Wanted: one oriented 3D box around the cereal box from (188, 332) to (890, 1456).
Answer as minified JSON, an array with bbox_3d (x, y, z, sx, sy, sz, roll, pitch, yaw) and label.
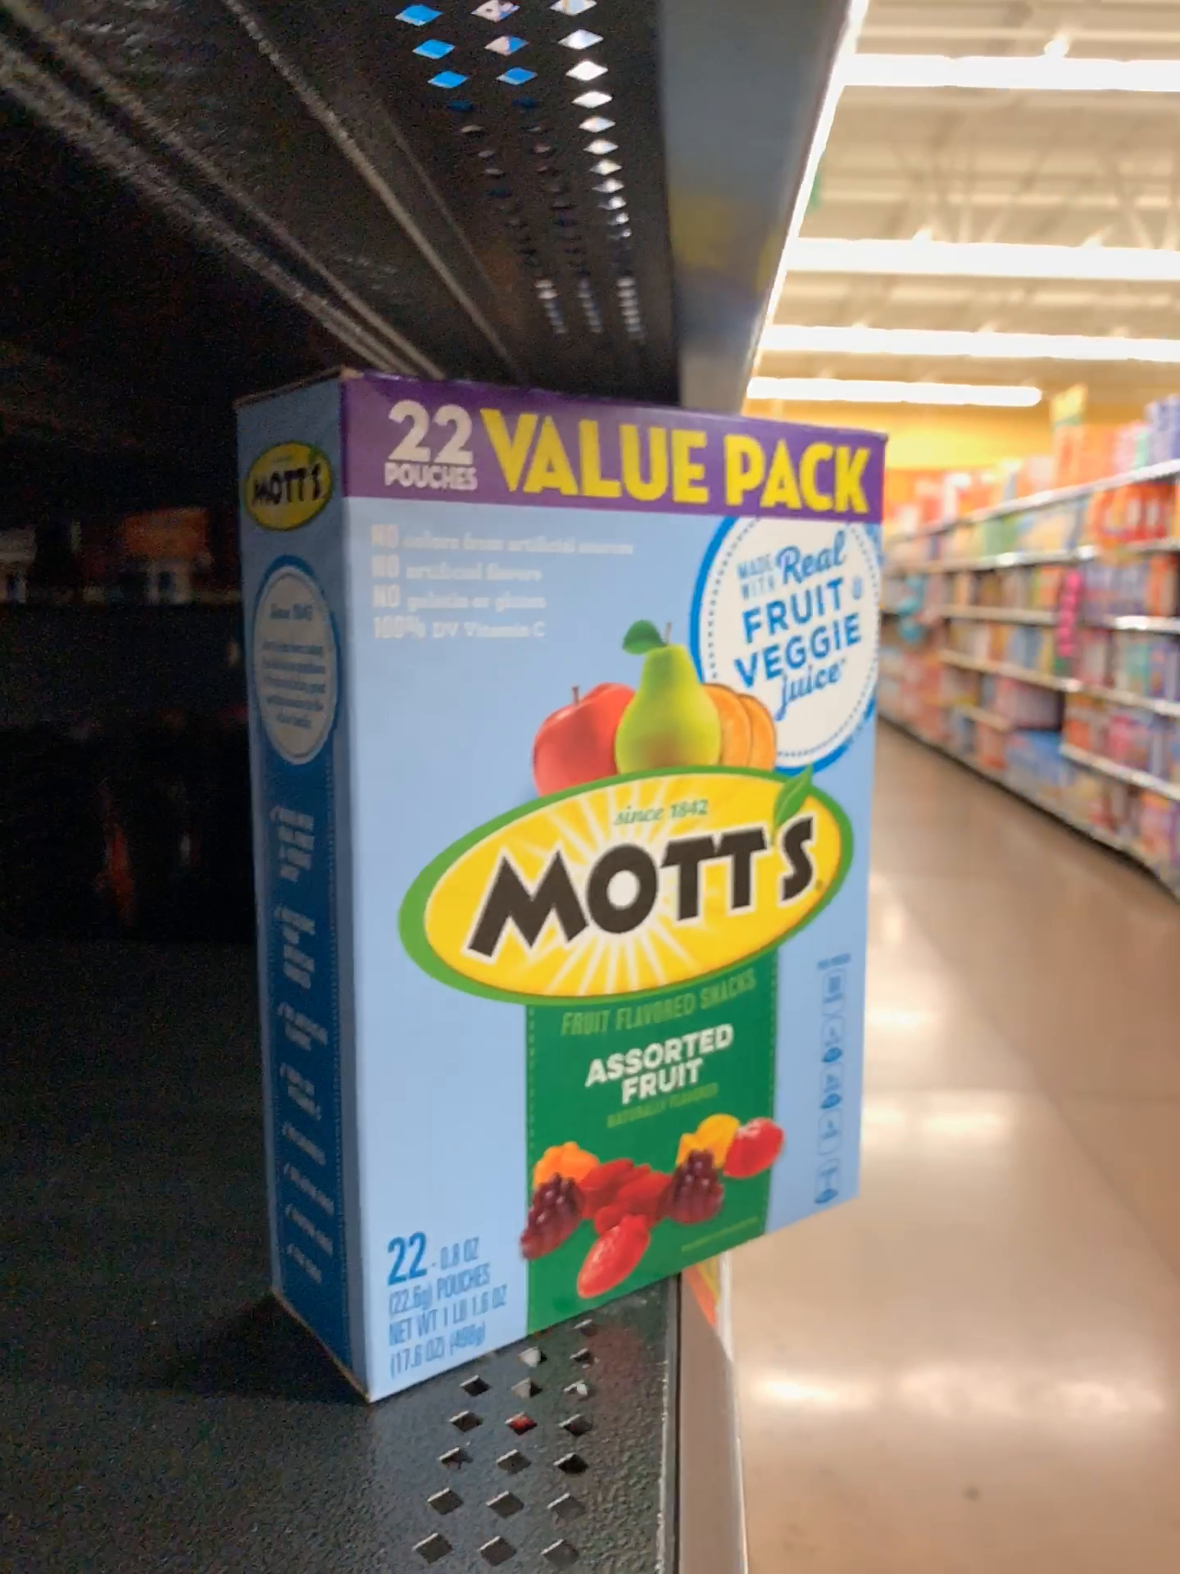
[{"bbox_3d":[-0.005,0.018,0.336,0.180,0.240,0.060,-6,10,-38],"label":"cereal box"}]
